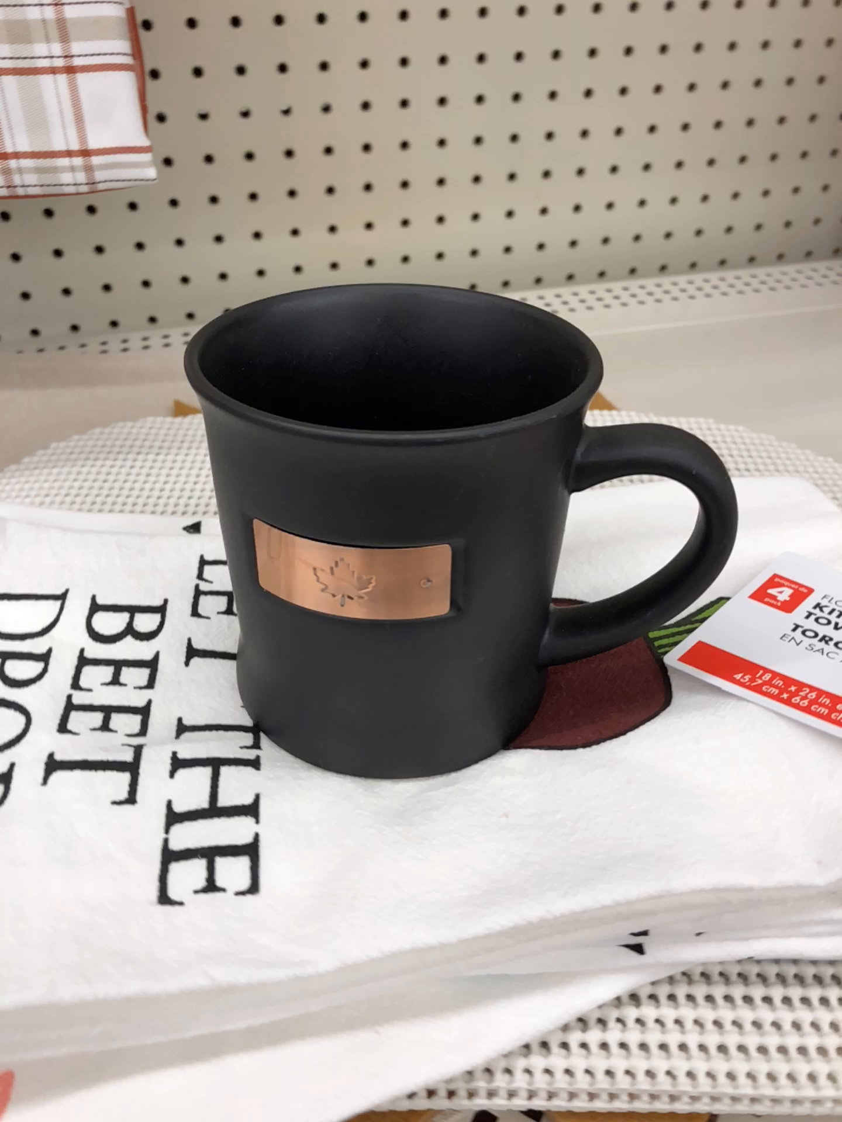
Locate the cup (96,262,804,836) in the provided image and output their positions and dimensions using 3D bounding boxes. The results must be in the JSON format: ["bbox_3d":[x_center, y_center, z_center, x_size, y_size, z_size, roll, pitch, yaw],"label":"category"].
[{"bbox_3d":[0.009,-0.008,0.258,0.140,0.110,0.100,4,37,6],"label":"cup"}]
